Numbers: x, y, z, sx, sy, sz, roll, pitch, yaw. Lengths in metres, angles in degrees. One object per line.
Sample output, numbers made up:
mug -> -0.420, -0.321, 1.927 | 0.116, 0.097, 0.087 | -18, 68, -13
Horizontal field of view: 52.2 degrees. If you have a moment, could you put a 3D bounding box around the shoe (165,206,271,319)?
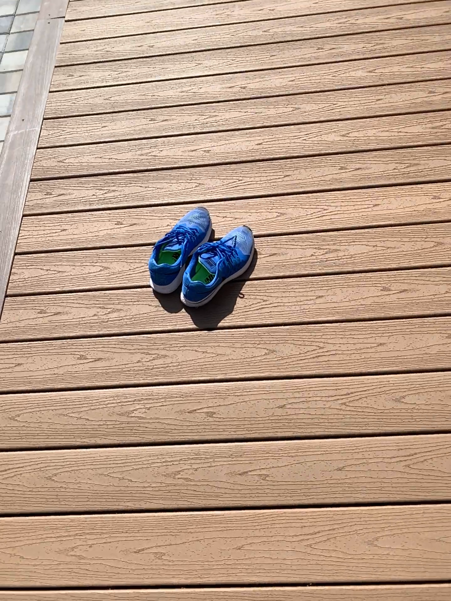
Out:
shoe -> -0.015, -0.108, 1.281 | 0.120, 0.105, 0.290 | 37, 72, 23

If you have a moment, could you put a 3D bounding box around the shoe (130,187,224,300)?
shoe -> -0.131, -0.167, 1.320 | 0.120, 0.103, 0.297 | 22, 67, 17
